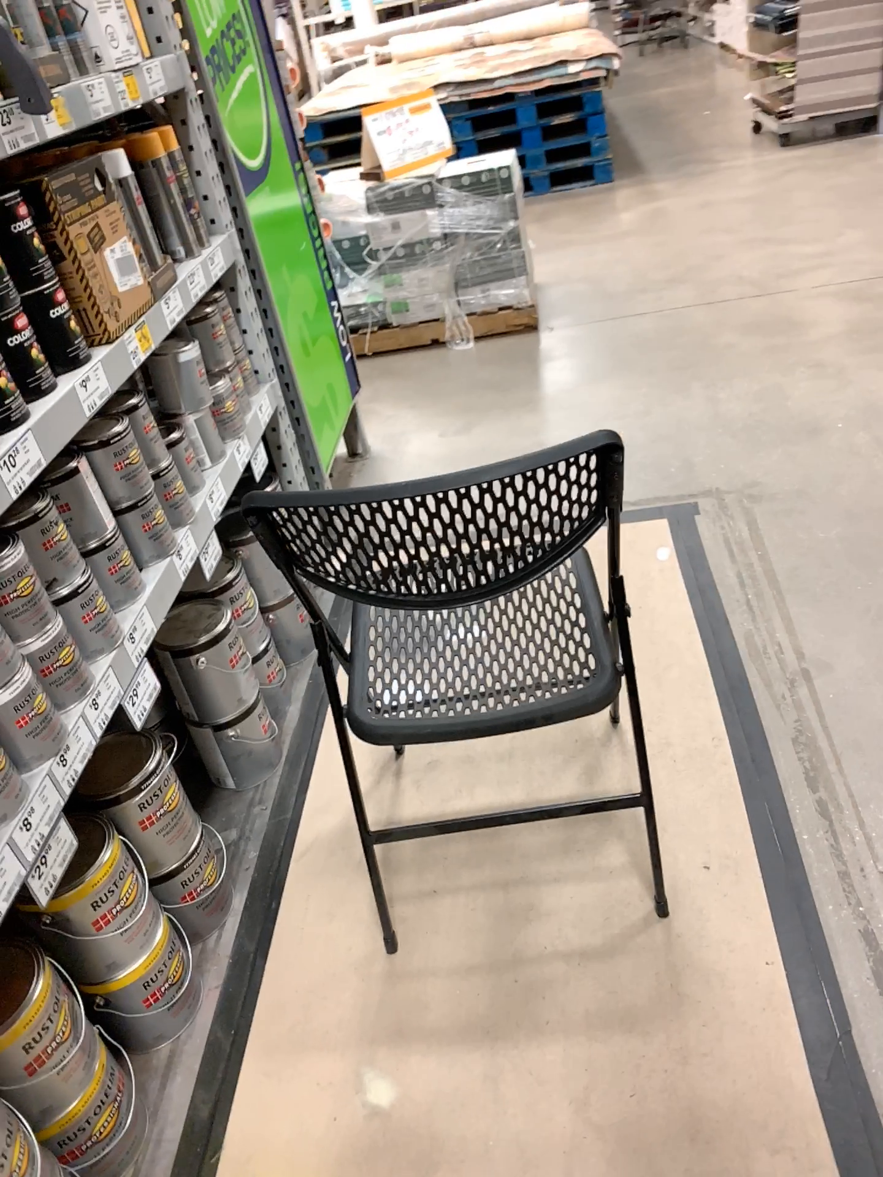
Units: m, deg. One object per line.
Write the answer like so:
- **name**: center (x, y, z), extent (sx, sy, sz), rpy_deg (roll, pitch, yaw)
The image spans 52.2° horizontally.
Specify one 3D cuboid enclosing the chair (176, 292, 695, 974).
- **chair**: center (0.045, 0.079, 1.366), extent (0.518, 0.814, 0.518), rpy_deg (-9, 33, 5)
